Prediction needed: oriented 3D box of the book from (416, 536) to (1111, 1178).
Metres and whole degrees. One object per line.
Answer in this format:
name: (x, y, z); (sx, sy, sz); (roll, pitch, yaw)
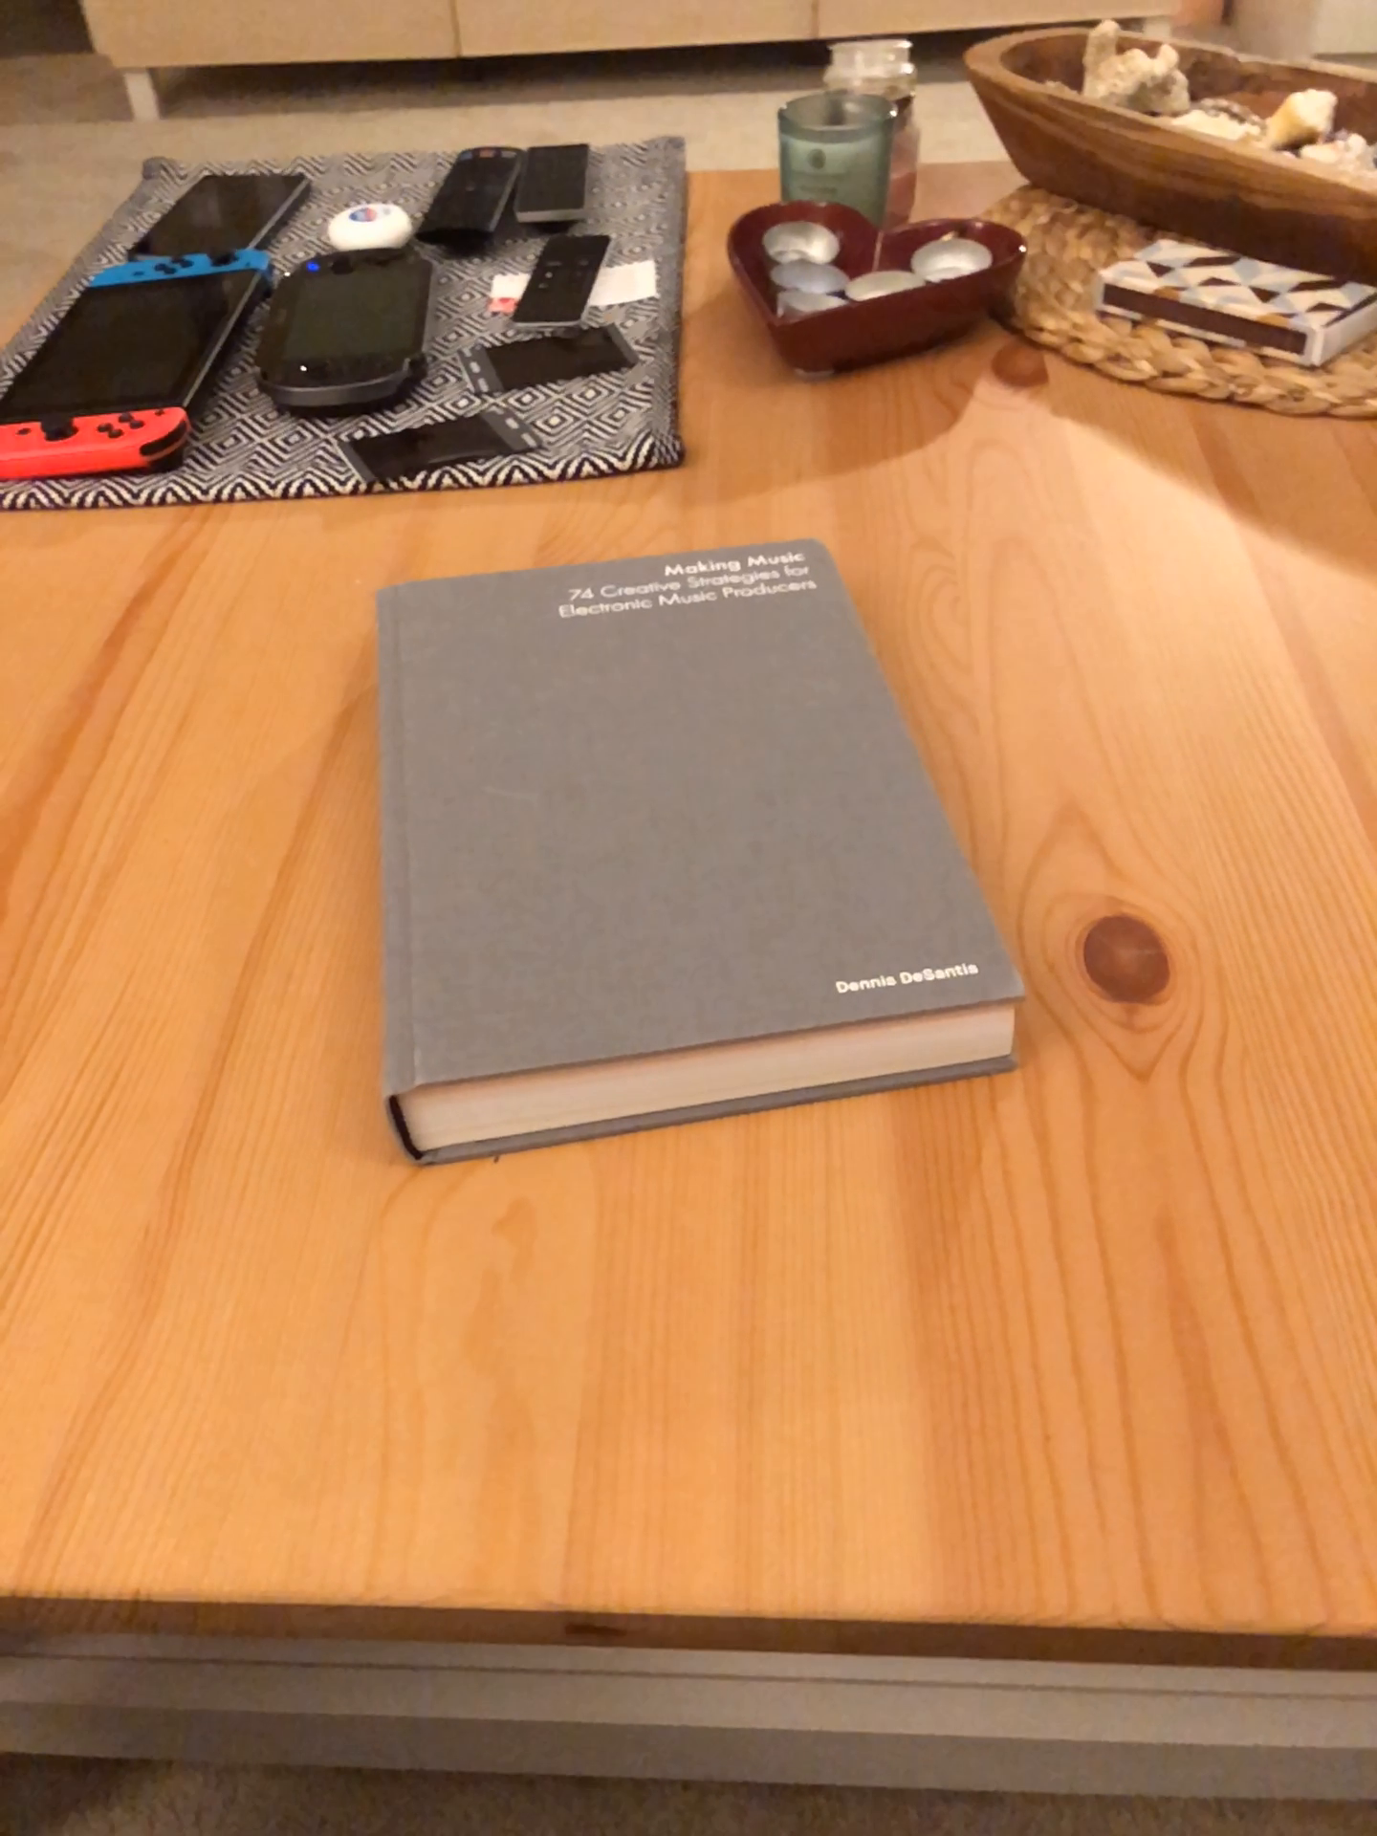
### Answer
book: (0.005, -0.035, 0.457); (0.166, 0.030, 0.228); (-8, 44, -4)
